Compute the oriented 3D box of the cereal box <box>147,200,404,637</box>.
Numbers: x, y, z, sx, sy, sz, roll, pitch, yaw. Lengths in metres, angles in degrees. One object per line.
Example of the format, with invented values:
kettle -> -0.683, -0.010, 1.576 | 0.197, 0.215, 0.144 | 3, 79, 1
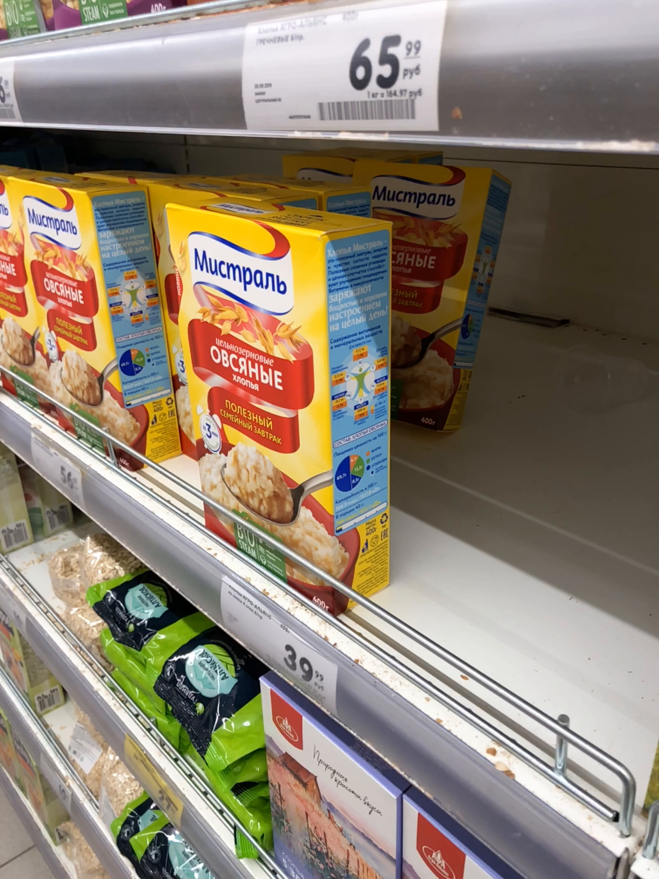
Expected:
cereal box -> -0.032, -0.019, 0.415 | 0.050, 0.209, 0.150 | -21, 31, -37
